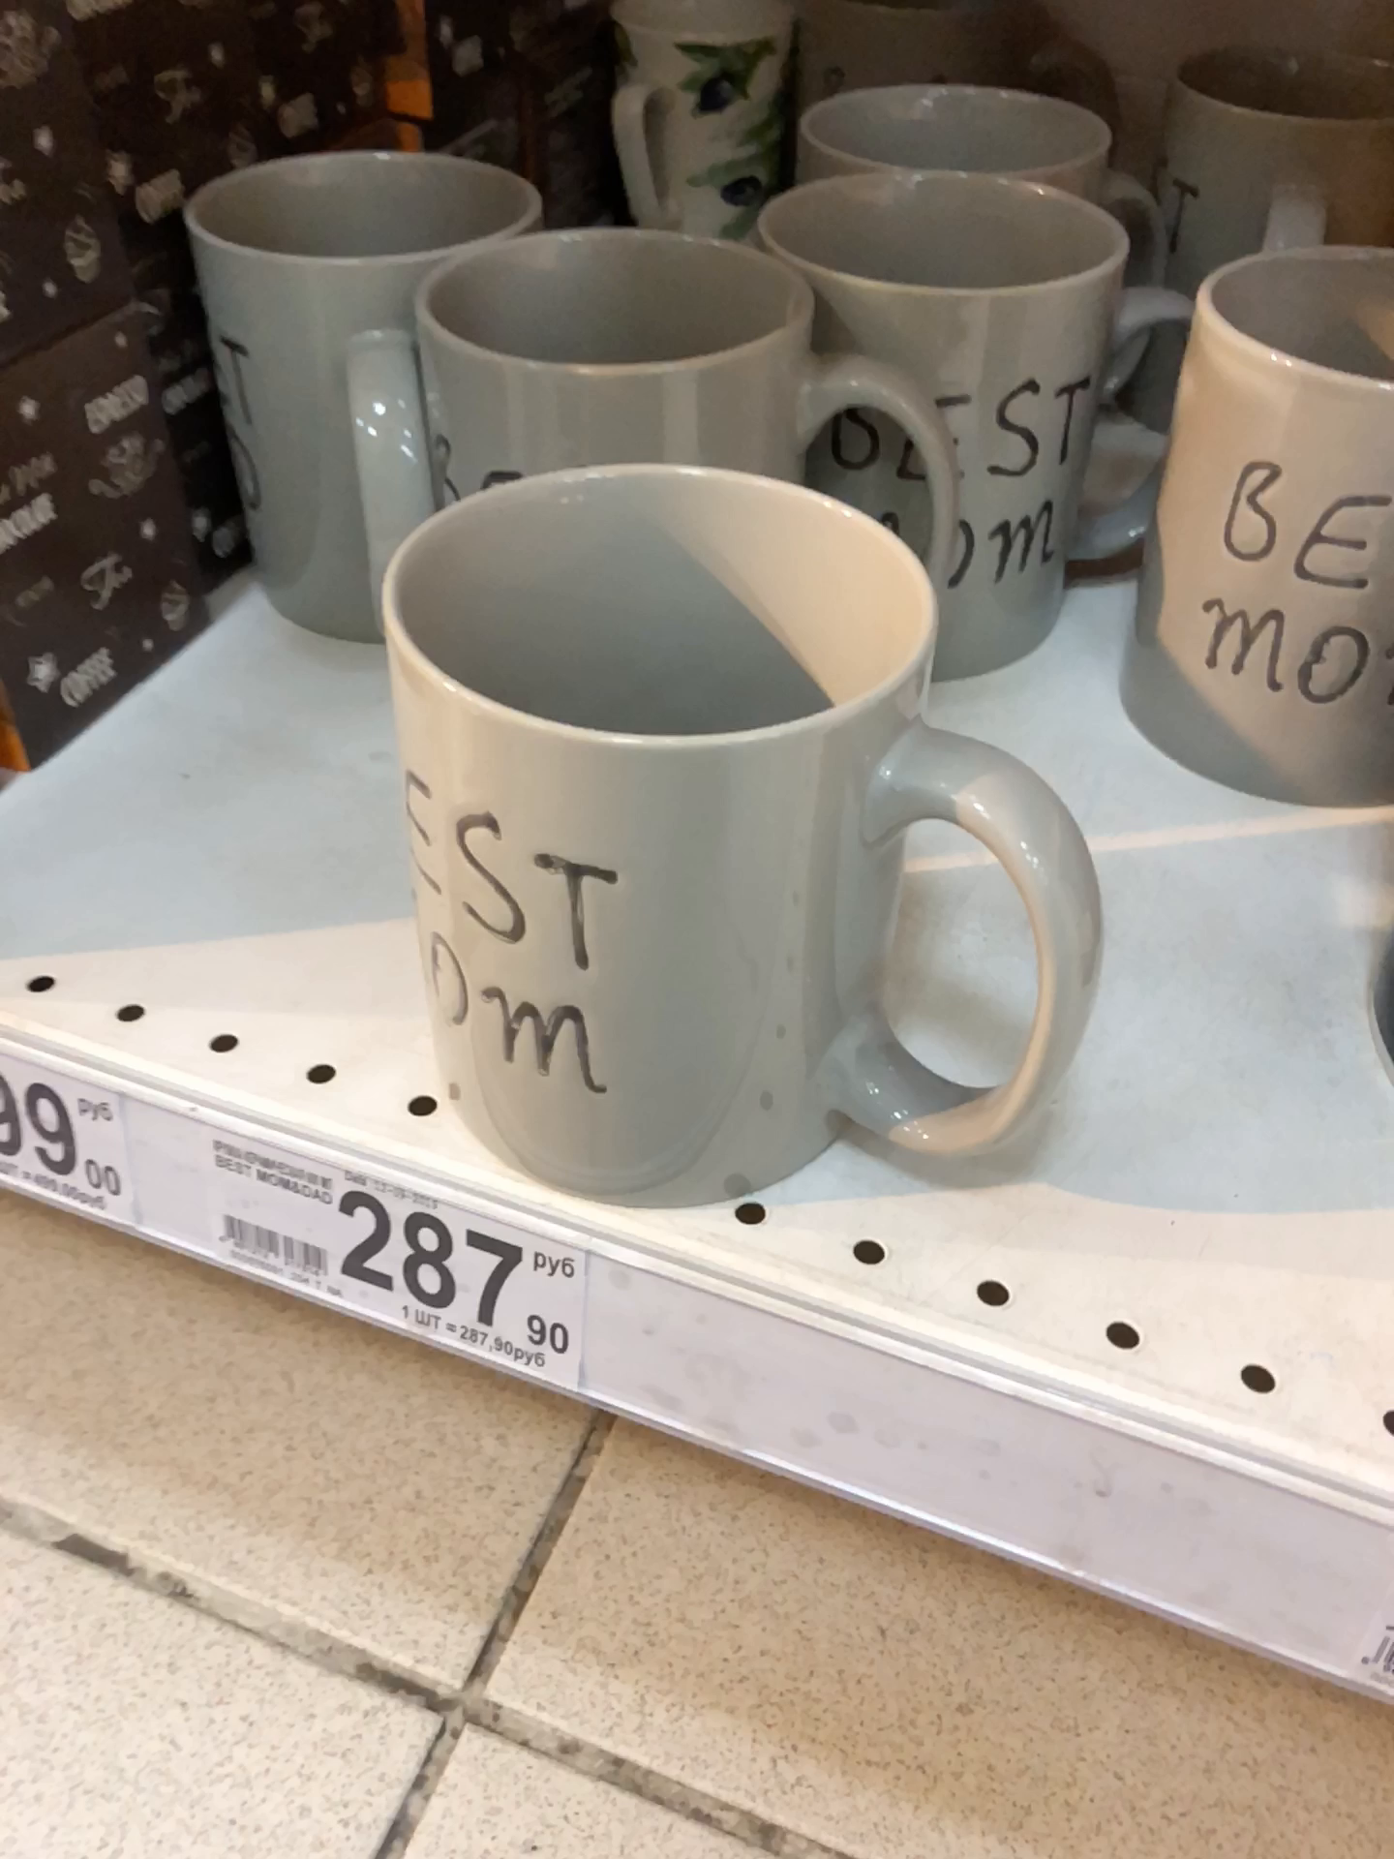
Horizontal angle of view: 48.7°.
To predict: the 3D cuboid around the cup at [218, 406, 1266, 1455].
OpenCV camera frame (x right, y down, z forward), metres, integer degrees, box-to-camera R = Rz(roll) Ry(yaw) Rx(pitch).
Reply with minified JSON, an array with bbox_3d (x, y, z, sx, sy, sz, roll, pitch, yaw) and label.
[{"bbox_3d":[0.005,-0.010,0.292,0.143,0.121,0.101,27,44,30],"label":"cup"}]
